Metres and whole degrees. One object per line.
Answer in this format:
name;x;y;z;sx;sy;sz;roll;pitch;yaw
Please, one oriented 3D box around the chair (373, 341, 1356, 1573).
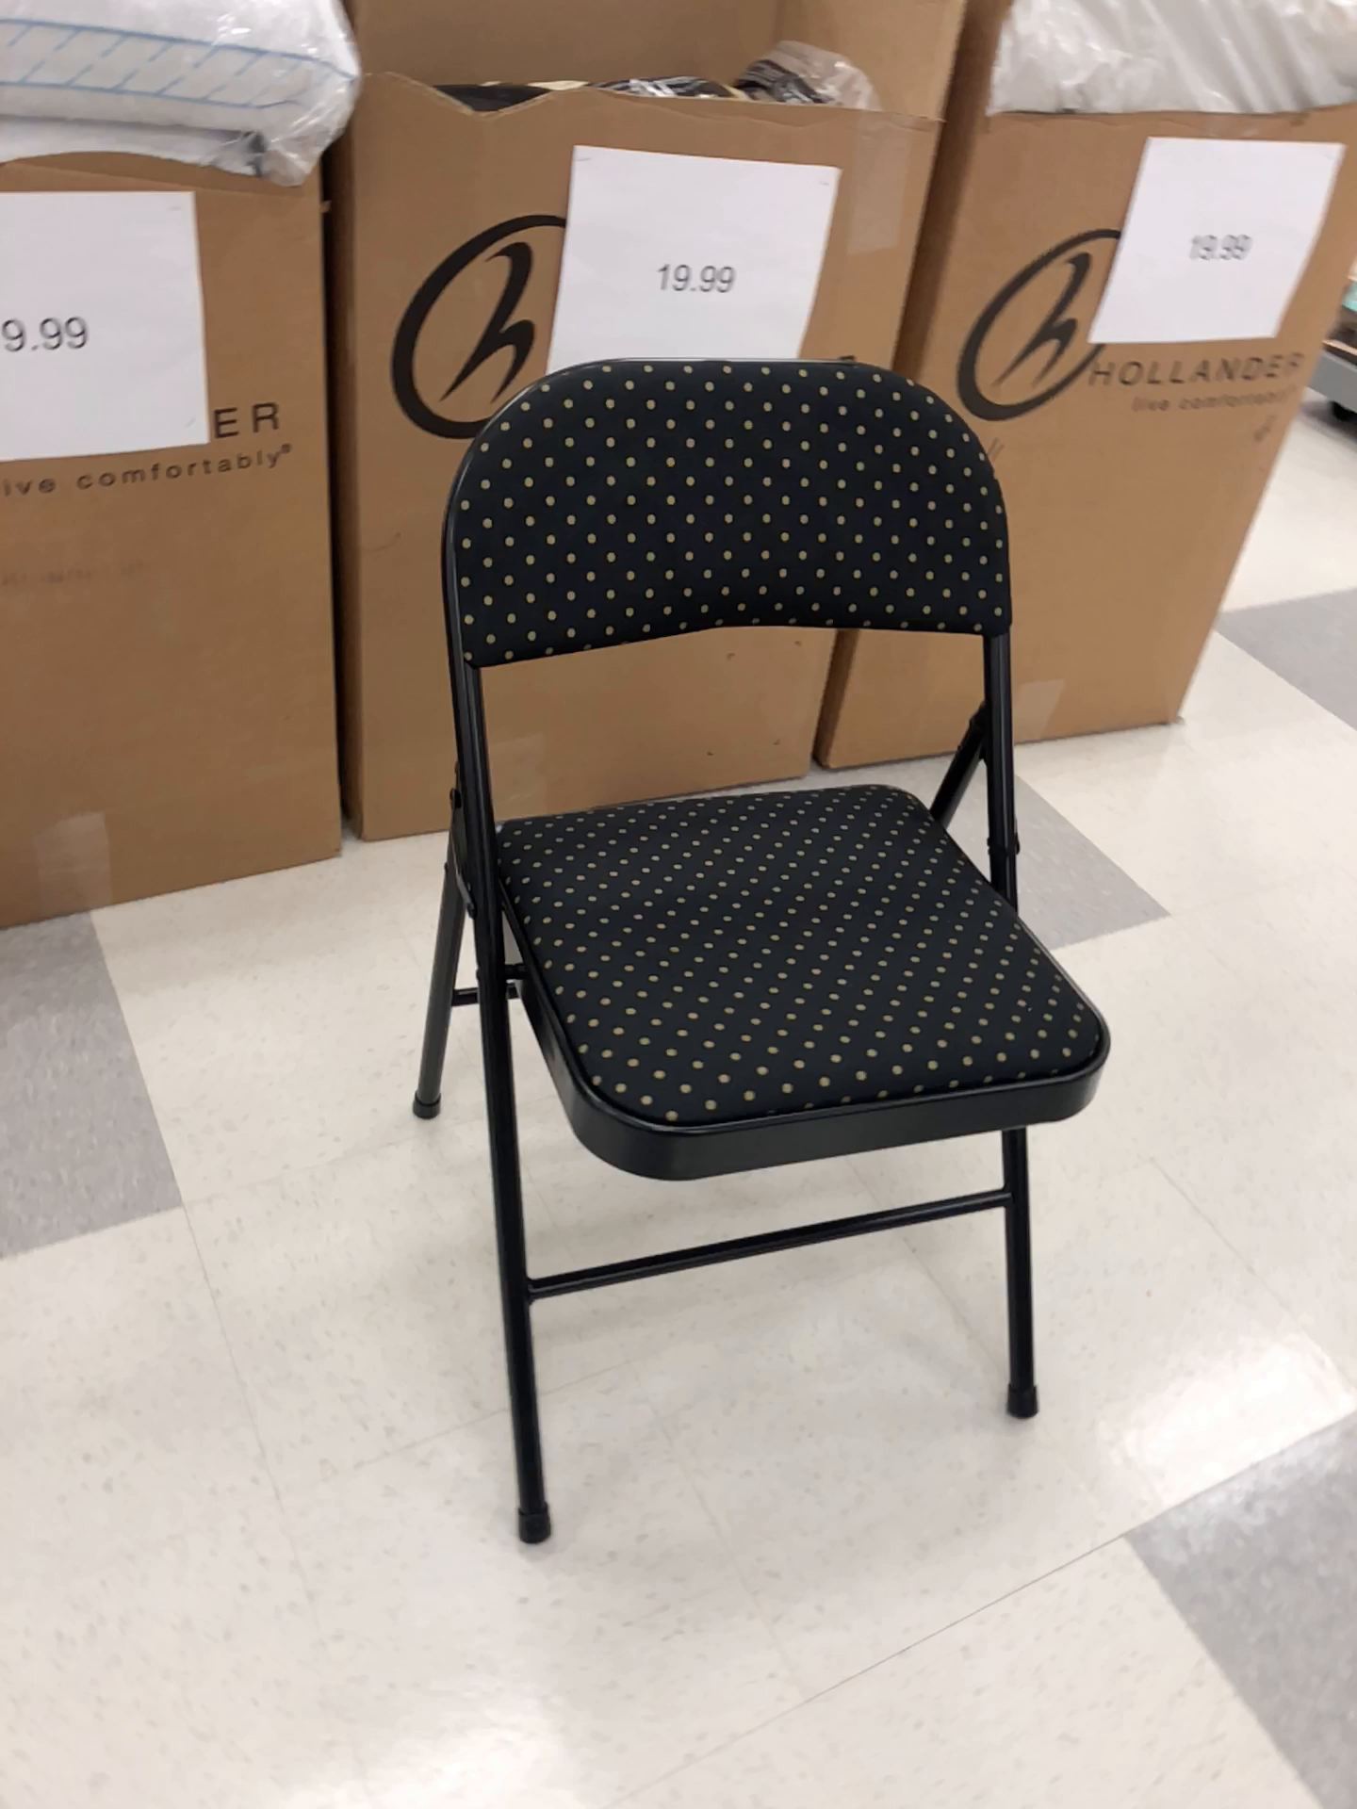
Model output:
chair;0.057;0.026;1.159;0.485;0.729;0.541;-7;42;-18
